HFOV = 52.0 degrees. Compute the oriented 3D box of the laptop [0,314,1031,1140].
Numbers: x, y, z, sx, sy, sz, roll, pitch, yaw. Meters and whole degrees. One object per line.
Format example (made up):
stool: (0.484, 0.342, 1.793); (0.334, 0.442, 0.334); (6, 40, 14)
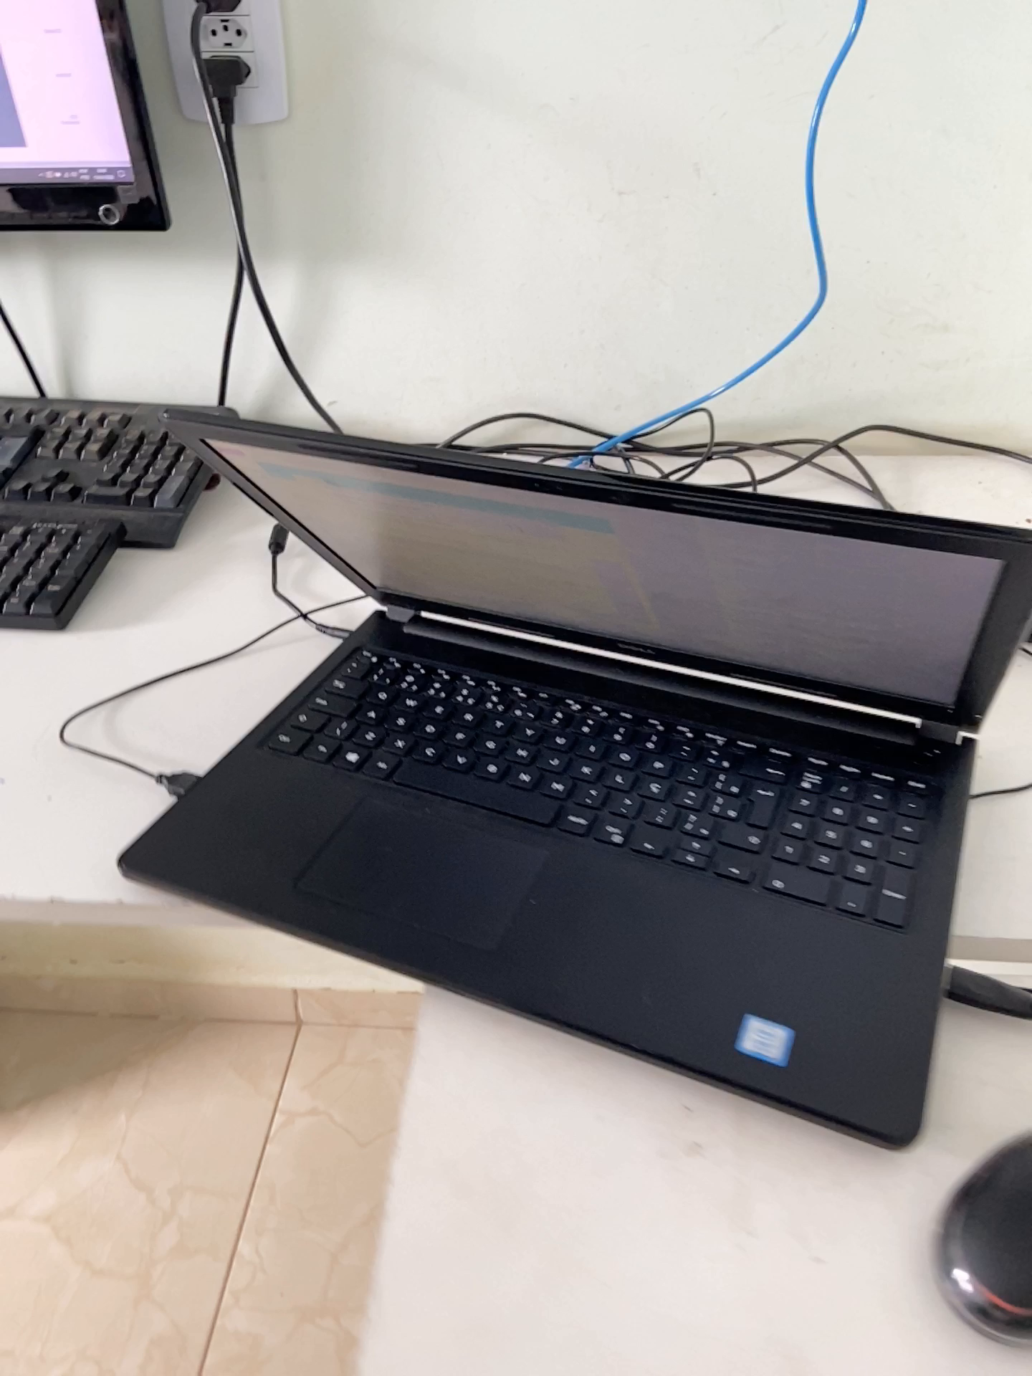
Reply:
laptop: (0.028, -0.021, 0.491); (0.372, 0.192, 0.257); (14, 38, 19)
